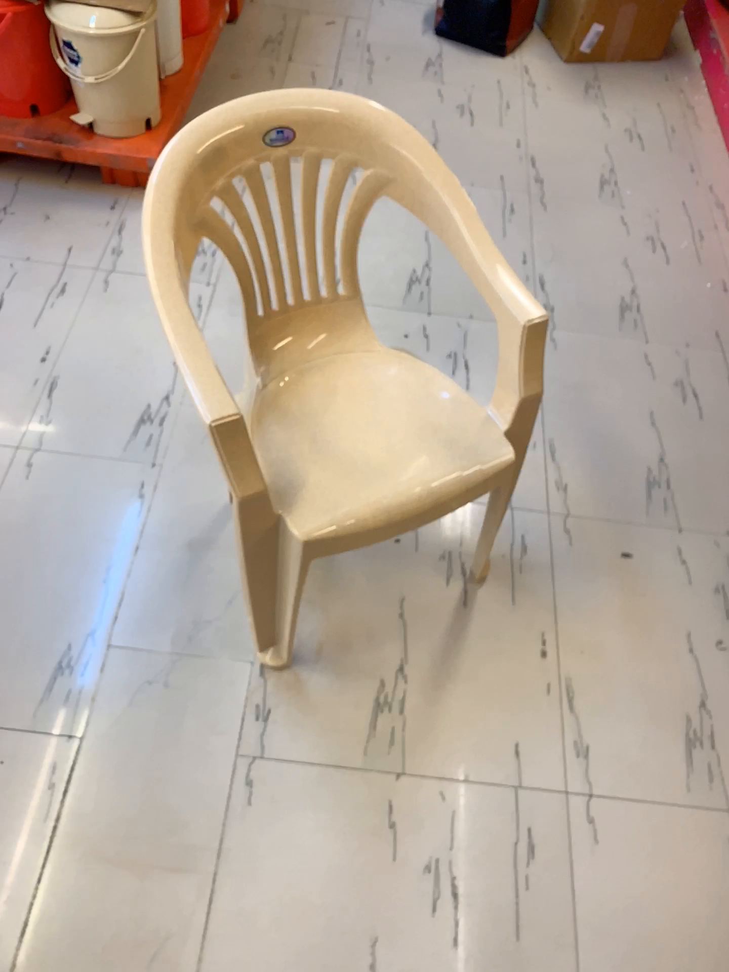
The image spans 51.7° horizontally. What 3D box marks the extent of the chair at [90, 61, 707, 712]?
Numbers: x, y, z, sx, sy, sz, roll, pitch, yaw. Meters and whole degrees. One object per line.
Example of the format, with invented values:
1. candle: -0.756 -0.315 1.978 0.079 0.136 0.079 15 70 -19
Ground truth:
1. chair: -0.018 -0.141 1.268 0.571 0.745 0.633 -19 60 -19
